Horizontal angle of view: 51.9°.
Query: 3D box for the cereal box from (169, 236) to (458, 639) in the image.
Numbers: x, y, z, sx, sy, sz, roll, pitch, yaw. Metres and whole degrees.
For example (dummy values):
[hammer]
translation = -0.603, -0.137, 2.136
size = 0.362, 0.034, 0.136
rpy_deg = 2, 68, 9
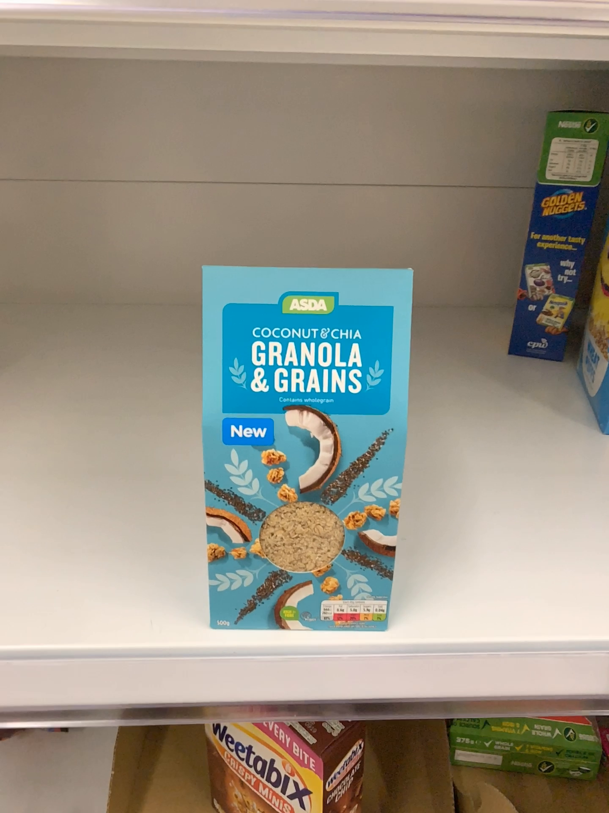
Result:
[cereal box]
translation = 0.002, 0.025, 0.386
size = 0.140, 0.238, 0.071
rpy_deg = 2, 26, 0
